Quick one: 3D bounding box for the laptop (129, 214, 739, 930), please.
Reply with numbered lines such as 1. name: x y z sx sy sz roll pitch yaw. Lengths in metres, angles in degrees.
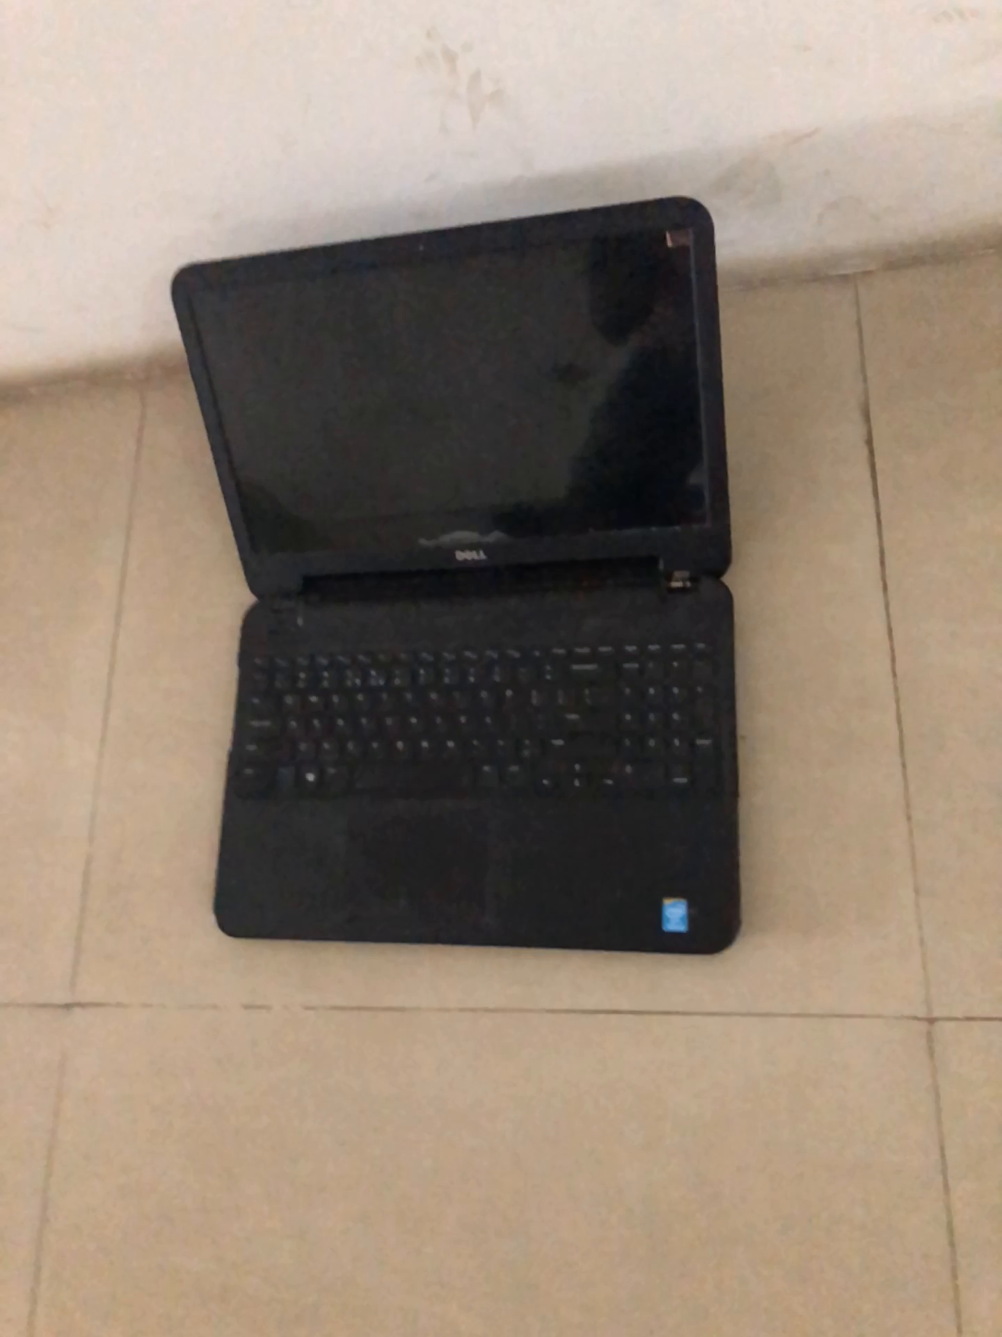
1. laptop: -0.023 -0.049 0.712 0.322 0.166 0.409 -2 72 13
